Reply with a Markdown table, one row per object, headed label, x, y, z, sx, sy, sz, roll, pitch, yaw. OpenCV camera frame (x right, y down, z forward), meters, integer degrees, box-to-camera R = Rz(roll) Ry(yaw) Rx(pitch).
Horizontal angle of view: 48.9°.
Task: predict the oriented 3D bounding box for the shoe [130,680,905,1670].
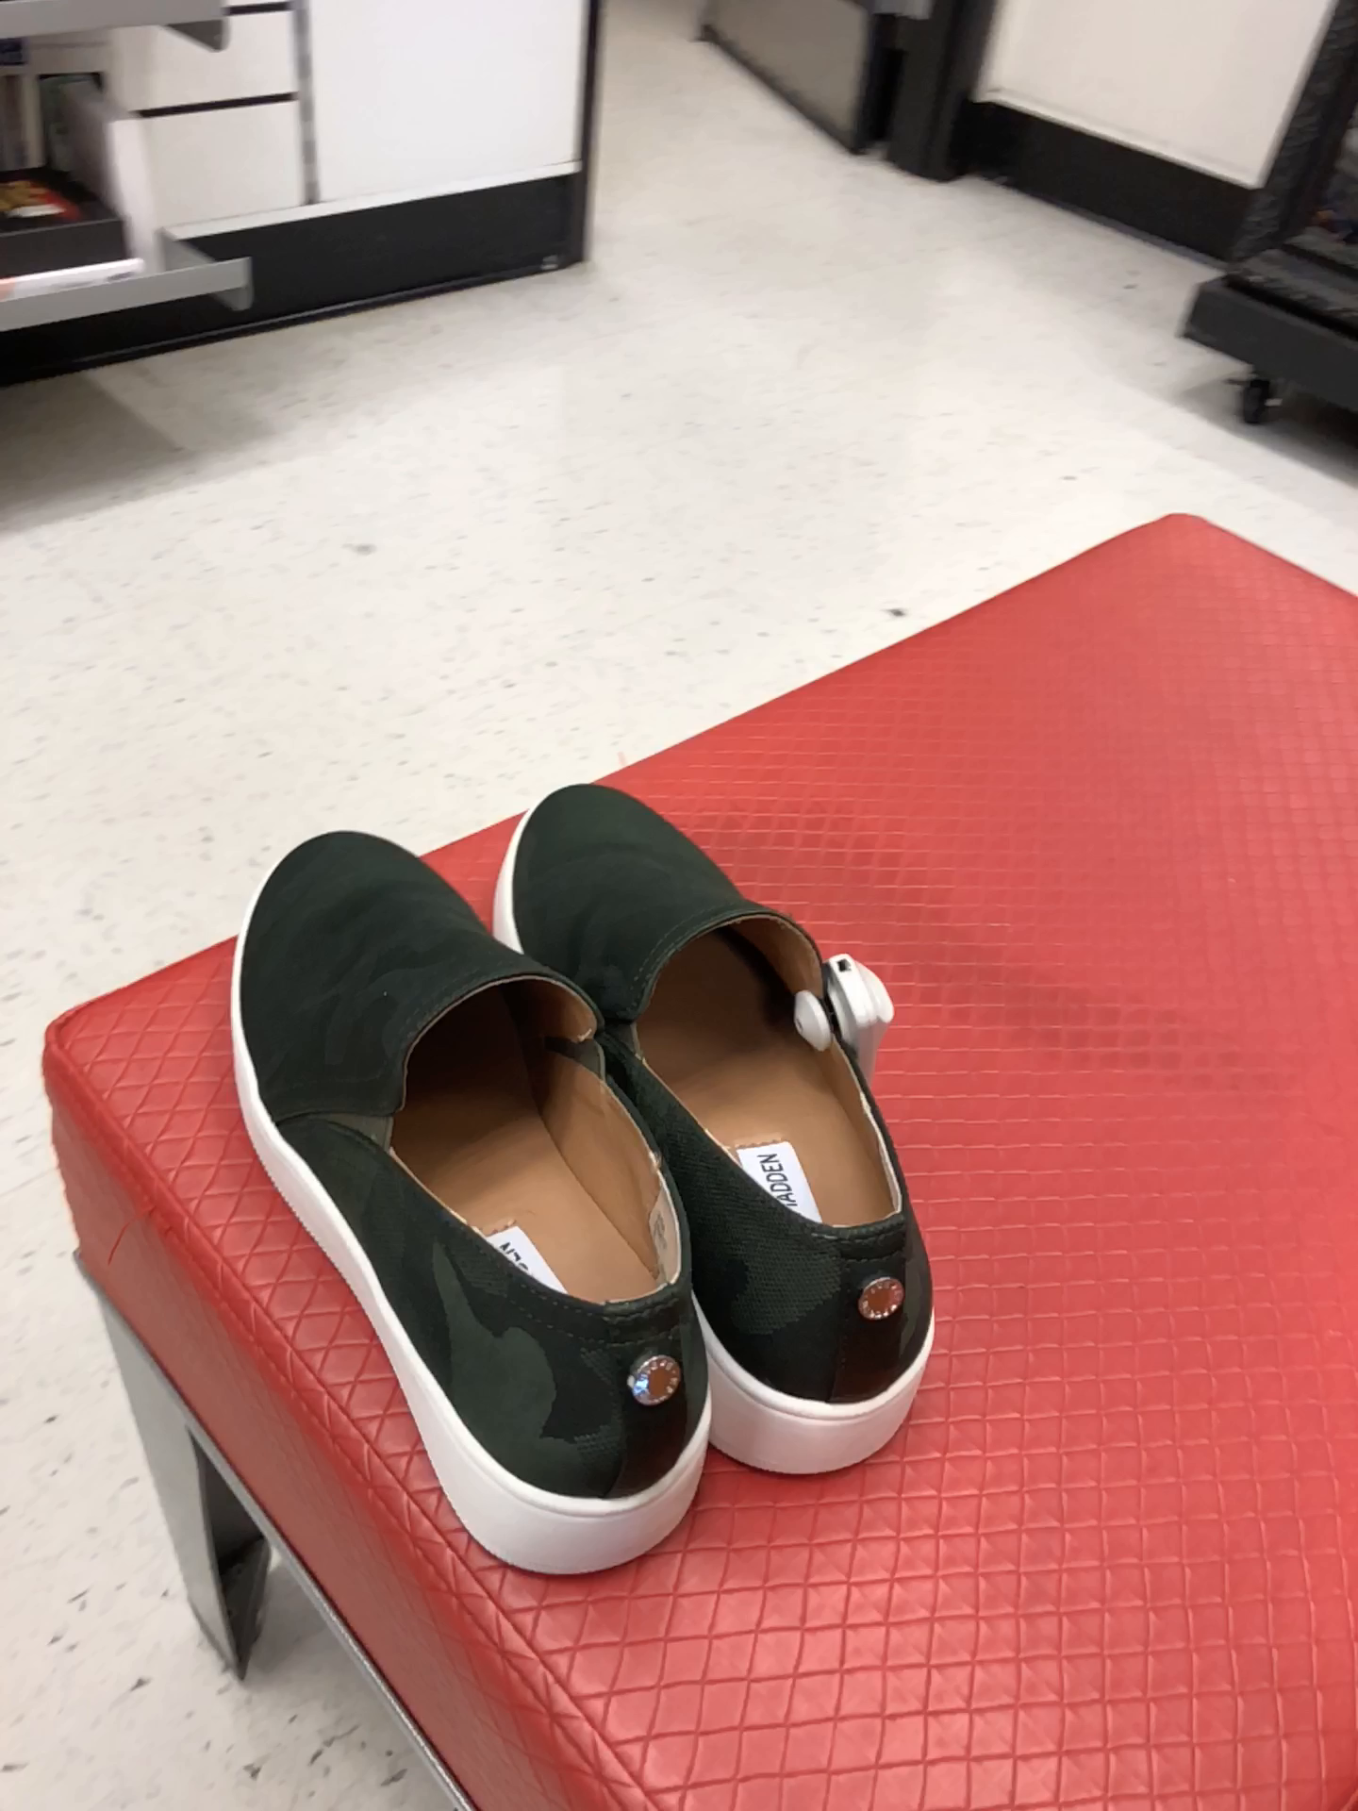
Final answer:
| label | x | y | z | sx | sy | sz | roll | pitch | yaw |
| --- | --- | --- | --- | --- | --- | --- | --- | --- | --- |
| shoe | -0.065 | 0.052 | 0.438 | 0.105 | 0.086 | 0.277 | -16 | 47 | -26 |

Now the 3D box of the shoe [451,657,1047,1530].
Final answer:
| label | x | y | z | sx | sy | sz | roll | pitch | yaw |
| --- | --- | --- | --- | --- | --- | --- | --- | --- | --- |
| shoe | 0.000 | 0.036 | 0.470 | 0.077 | 0.086 | 0.277 | -9 | 44 | -19 |
